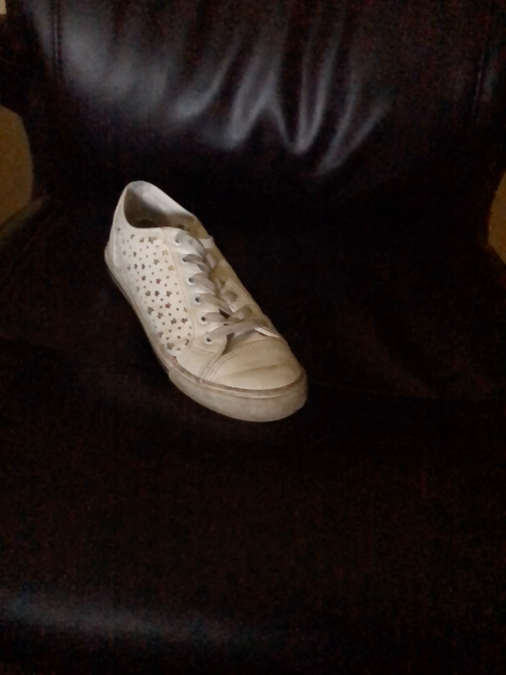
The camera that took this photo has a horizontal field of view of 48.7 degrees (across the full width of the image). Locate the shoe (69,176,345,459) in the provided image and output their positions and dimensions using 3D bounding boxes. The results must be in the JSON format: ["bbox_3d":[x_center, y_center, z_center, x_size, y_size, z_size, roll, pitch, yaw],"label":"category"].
[{"bbox_3d":[-0.054,-0.038,0.464,0.100,0.099,0.260,-18,40,-29],"label":"shoe"}]
